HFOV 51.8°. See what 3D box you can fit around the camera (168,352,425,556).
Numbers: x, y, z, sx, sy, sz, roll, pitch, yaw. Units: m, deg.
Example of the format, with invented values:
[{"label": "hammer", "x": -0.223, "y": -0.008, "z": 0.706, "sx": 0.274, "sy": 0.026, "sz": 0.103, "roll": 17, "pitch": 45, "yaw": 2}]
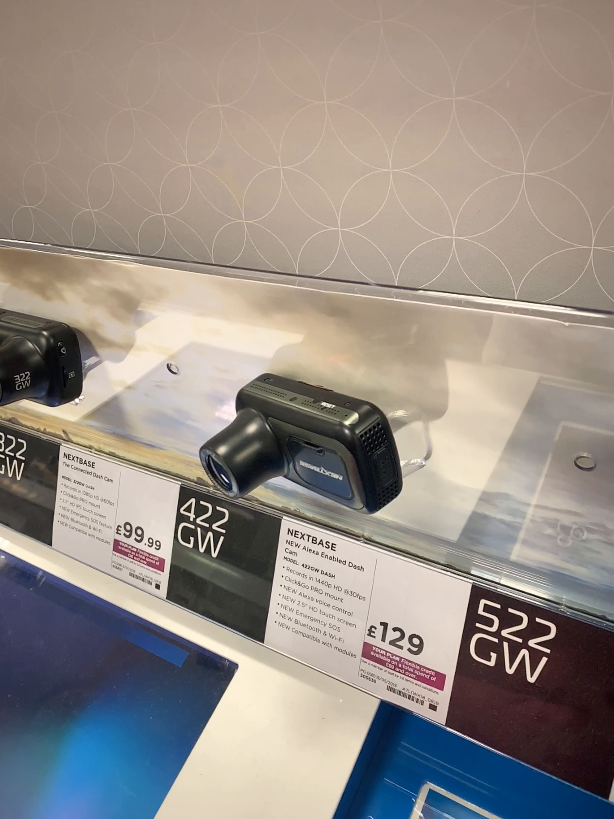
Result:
[{"label": "camera", "x": -0.007, "y": 0.012, "z": 0.255, "sx": 0.050, "sy": 0.040, "sz": 0.090, "roll": -33, "pitch": 32, "yaw": -30}]
